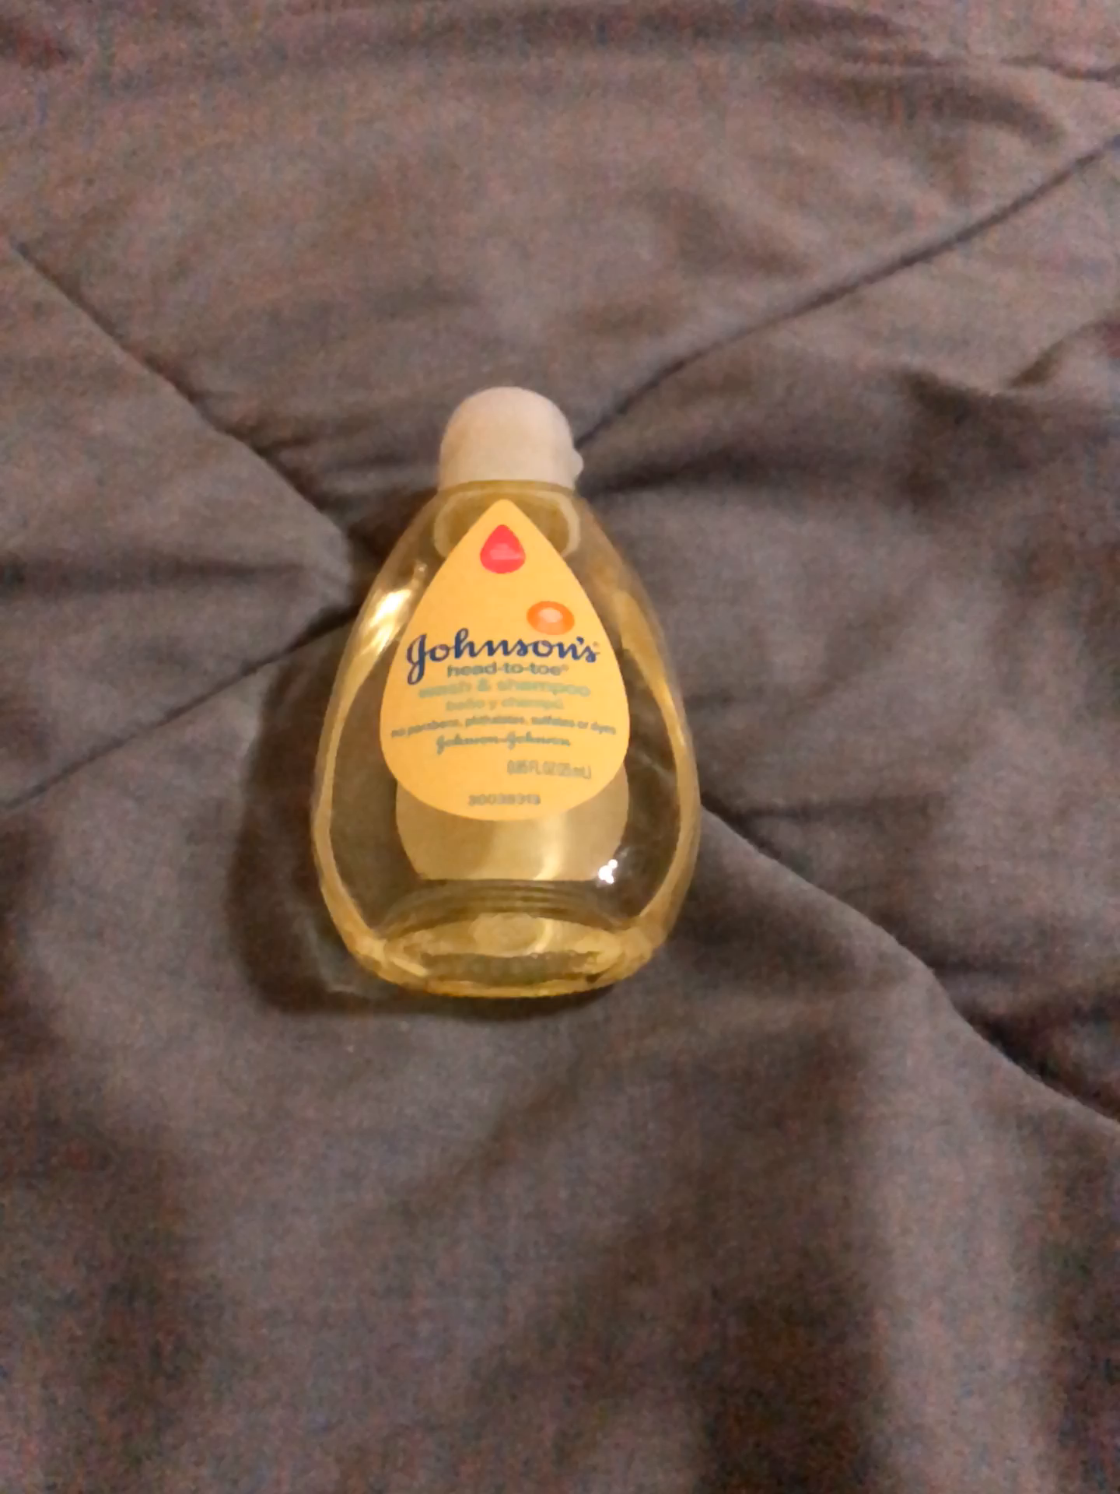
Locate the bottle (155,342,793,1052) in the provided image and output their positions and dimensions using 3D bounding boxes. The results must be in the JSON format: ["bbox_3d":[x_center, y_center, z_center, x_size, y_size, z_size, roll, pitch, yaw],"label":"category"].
[{"bbox_3d":[-0.008,-0.012,0.139,0.050,0.020,0.090,-2,45,0],"label":"bottle"}]
